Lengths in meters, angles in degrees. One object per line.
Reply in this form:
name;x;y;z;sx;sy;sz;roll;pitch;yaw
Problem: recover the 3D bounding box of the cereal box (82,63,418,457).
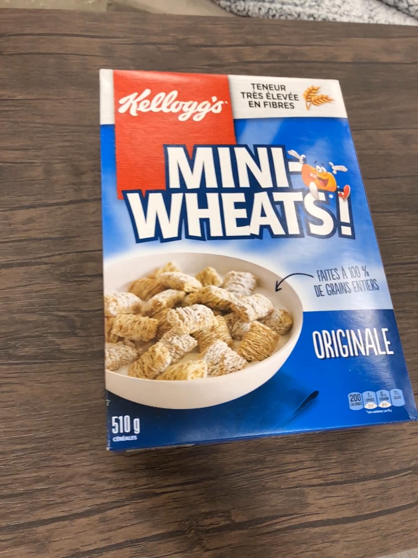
cereal box;0.030;-0.026;0.342;0.230;0.060;0.270;-1;68;-11
